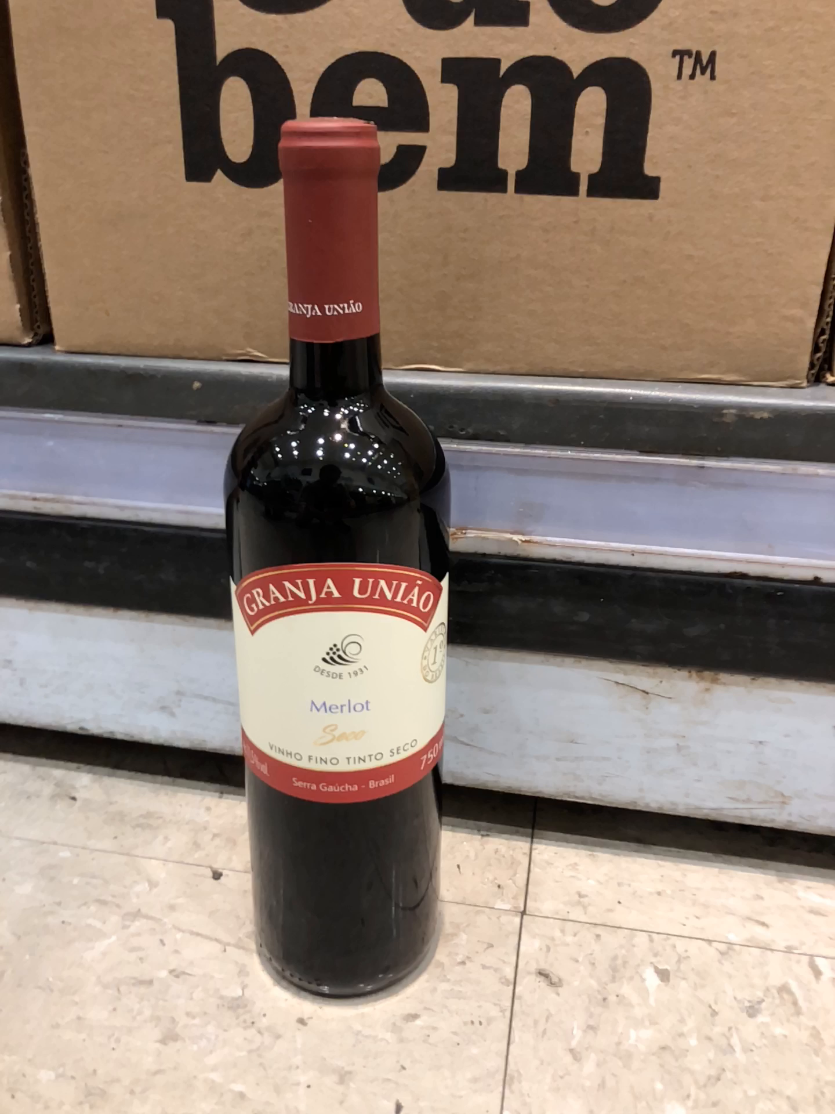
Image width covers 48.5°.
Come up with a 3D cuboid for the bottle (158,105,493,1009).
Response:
[{"bbox_3d":[-0.024,0.012,0.318,0.080,0.298,0.081,0,24,0],"label":"bottle"}]
